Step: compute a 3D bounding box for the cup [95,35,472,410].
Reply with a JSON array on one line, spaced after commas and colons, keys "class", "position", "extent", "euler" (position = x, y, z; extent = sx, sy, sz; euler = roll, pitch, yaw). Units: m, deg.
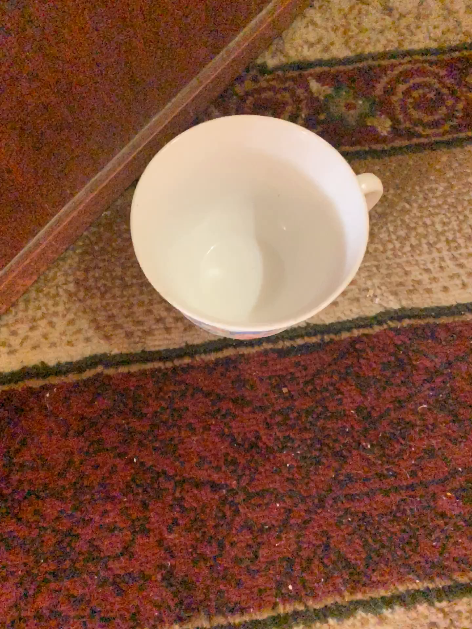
[{"class": "cup", "position": [0.022, -0.032, 0.184], "extent": [0.109, 0.053, 0.082], "euler": [-31, 75, -8]}]
